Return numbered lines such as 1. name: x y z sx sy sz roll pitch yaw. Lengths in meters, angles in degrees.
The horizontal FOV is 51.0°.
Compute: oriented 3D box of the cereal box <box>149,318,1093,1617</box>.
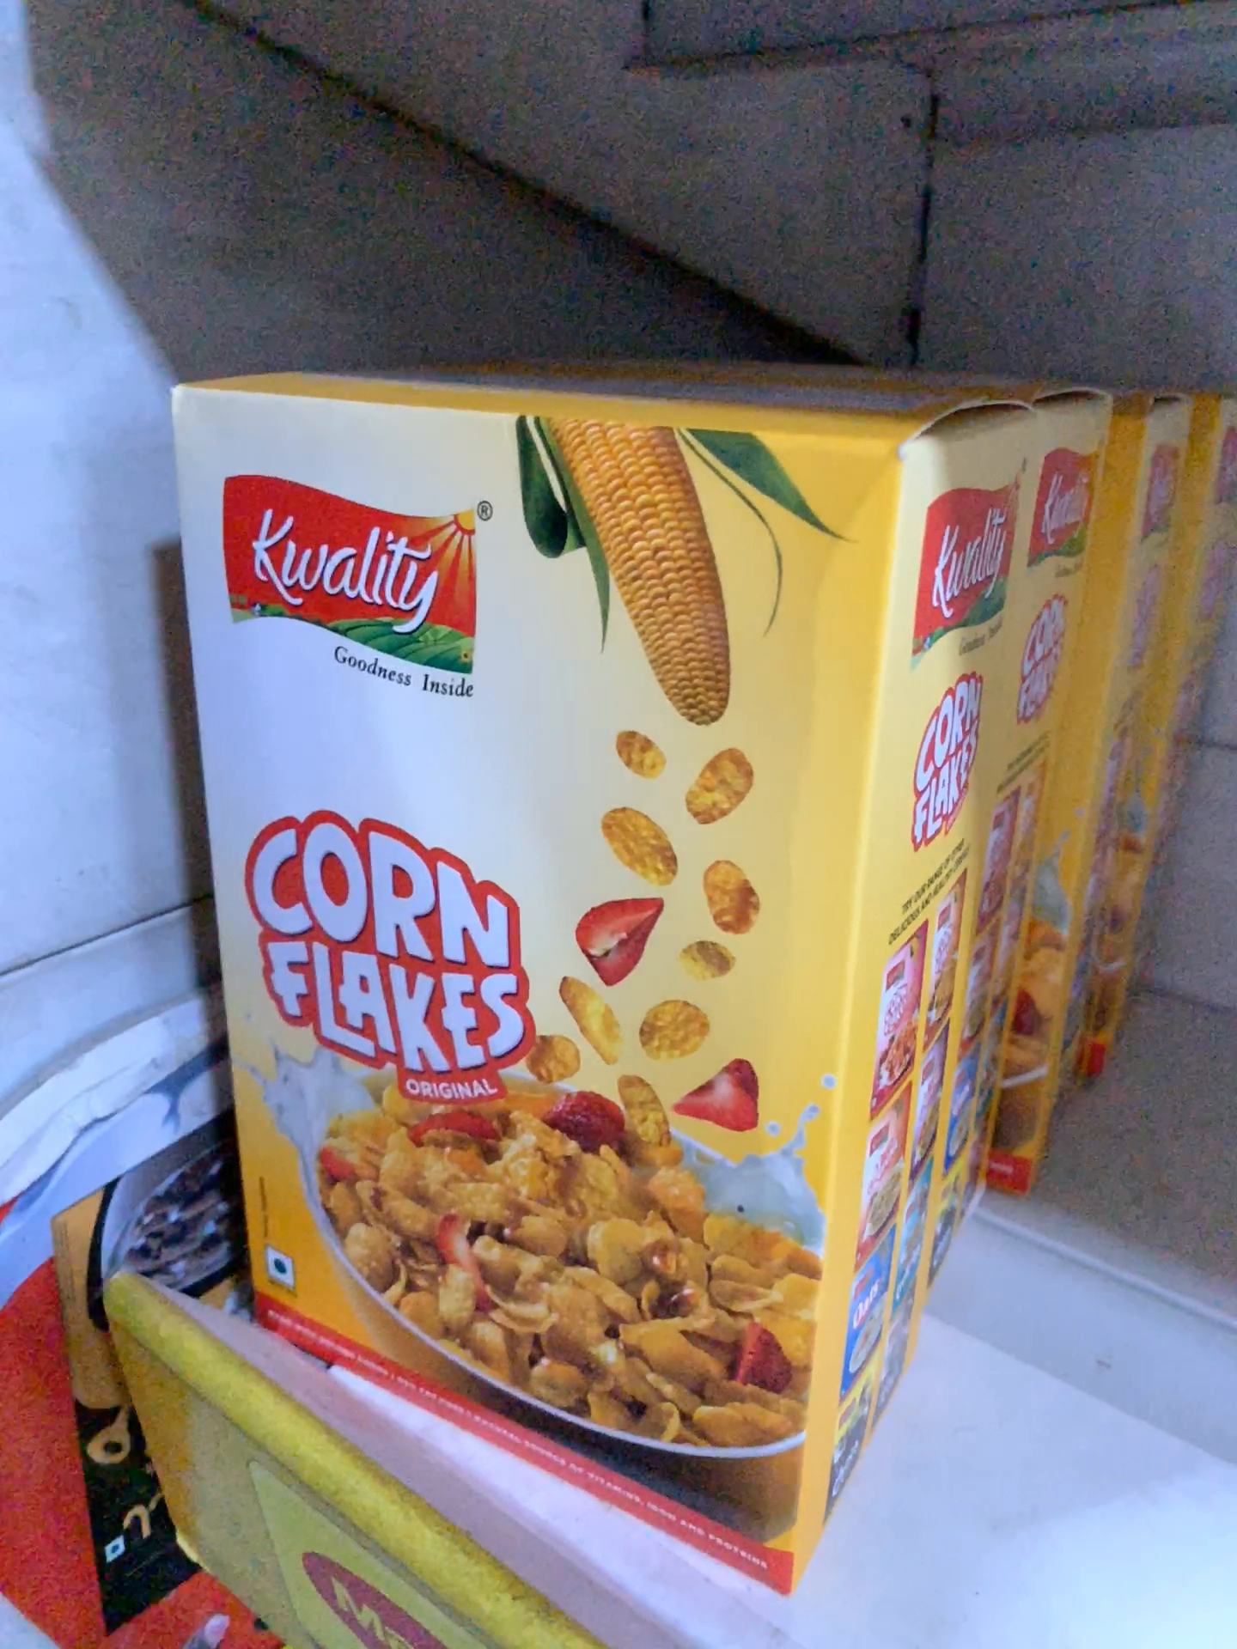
1. cereal box: -0.003 0.014 0.215 0.120 0.179 0.060 13 23 27
